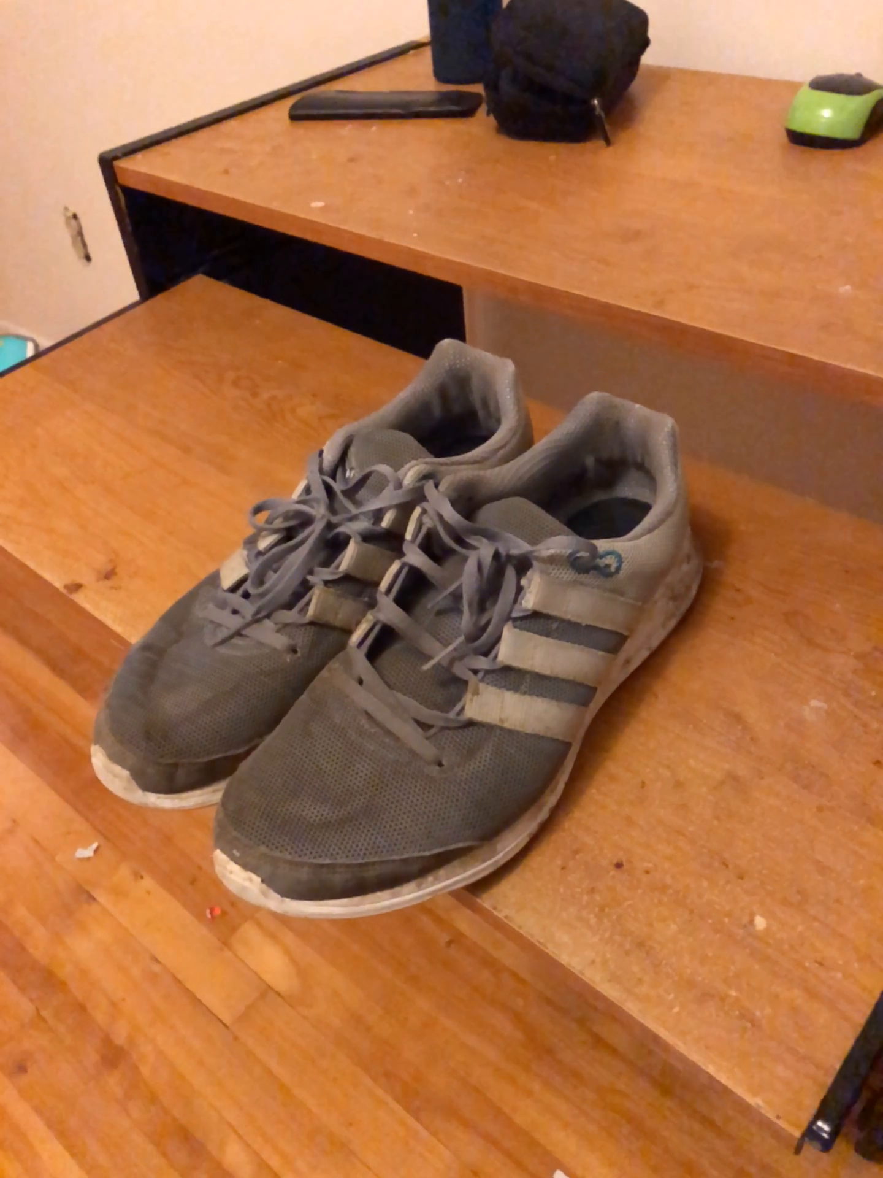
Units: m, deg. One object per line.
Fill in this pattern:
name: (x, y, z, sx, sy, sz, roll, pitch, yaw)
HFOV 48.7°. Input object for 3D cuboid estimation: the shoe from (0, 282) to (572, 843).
shoe: (-0.064, -0.037, 0.473, 0.110, 0.089, 0.301, 24, 50, 30)

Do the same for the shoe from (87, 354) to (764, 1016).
shoe: (0.013, 0.014, 0.409, 0.120, 0.089, 0.271, 25, 50, 31)
